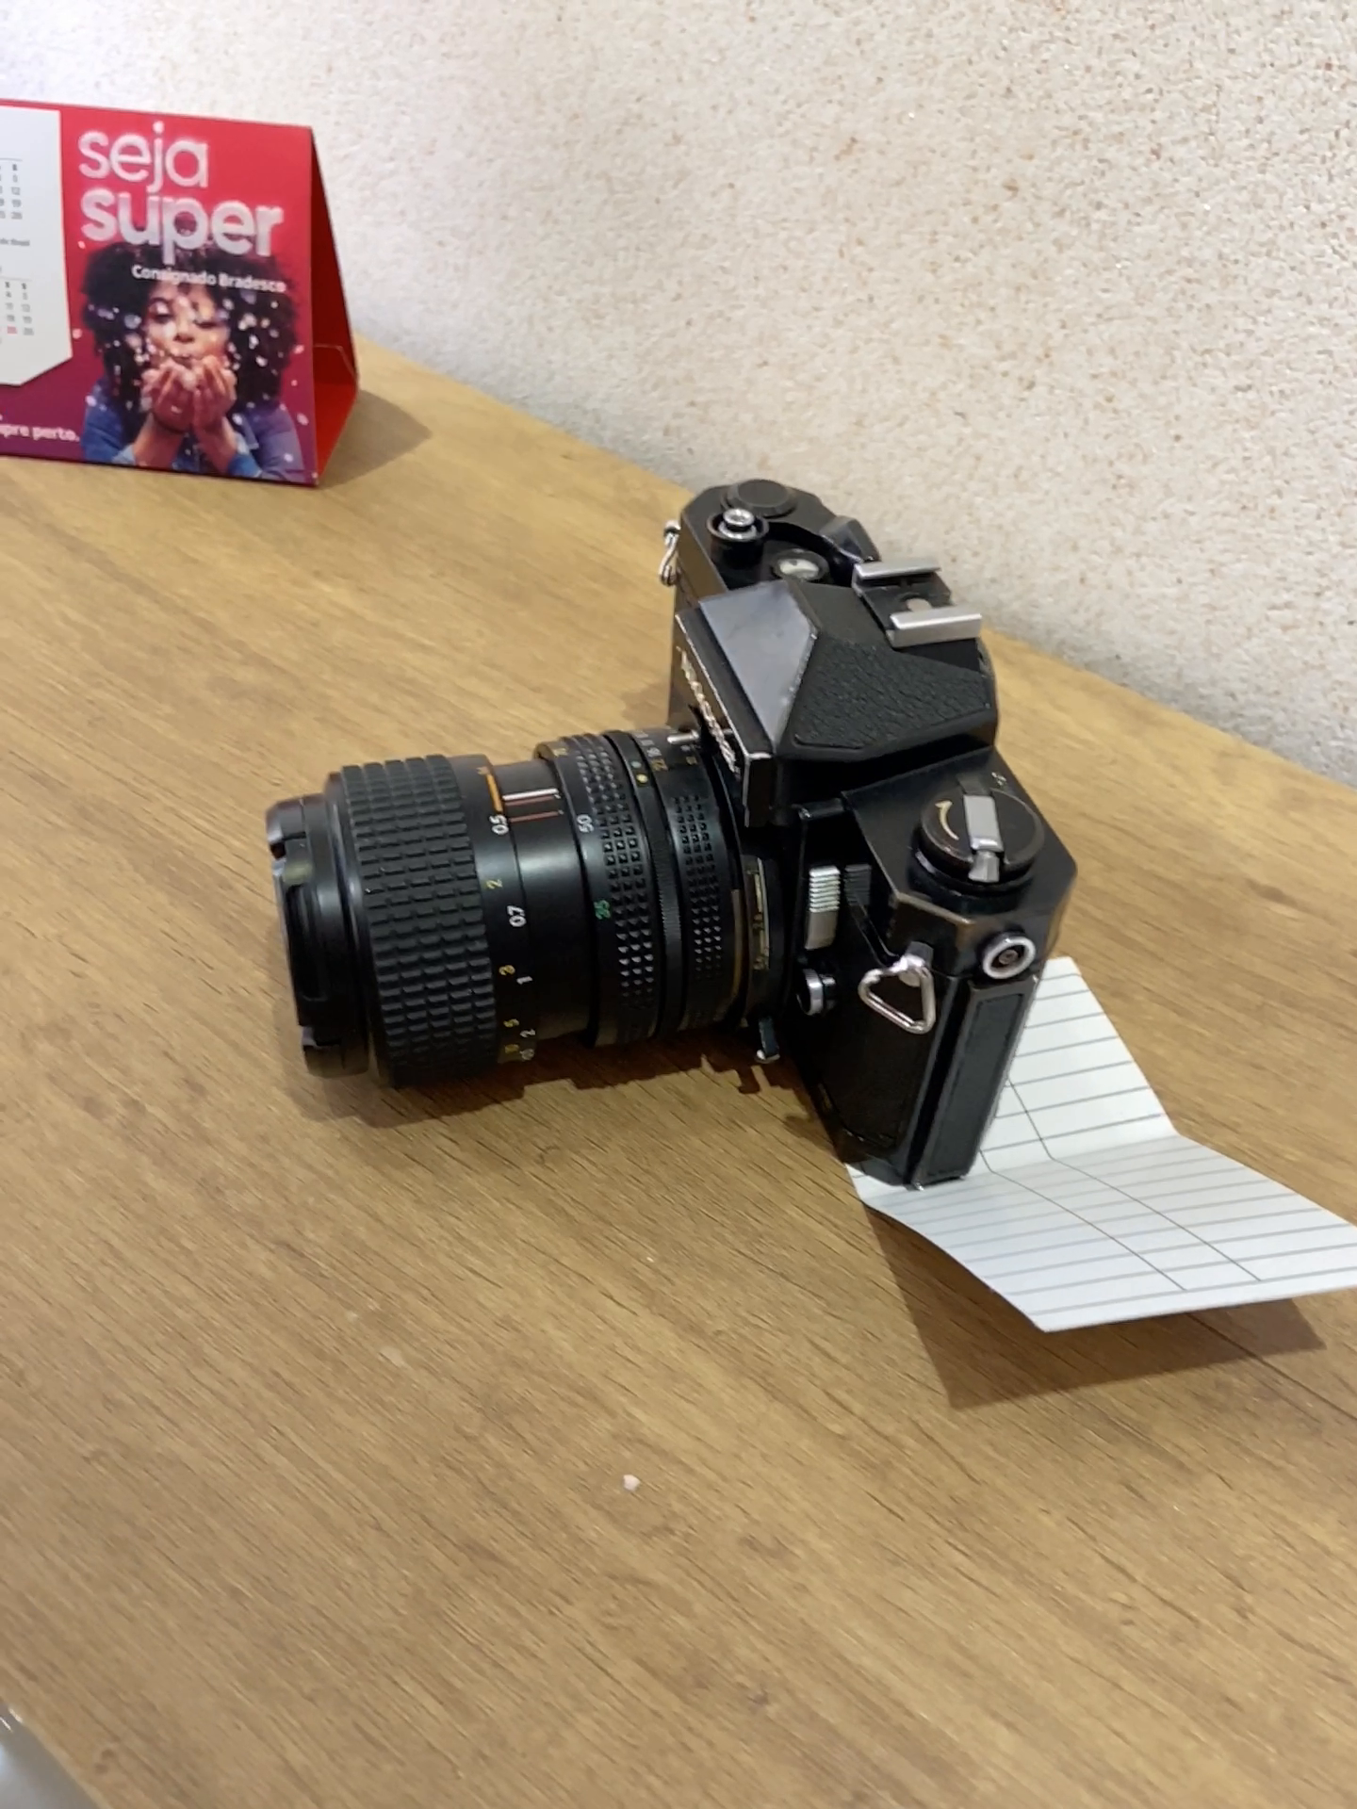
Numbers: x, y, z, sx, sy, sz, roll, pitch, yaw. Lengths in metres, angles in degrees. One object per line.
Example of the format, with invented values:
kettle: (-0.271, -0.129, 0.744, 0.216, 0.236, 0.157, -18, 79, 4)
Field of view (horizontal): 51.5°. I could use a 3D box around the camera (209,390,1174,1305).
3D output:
camera: (-0.014, -0.025, 0.285, 0.140, 0.089, 0.161, -6, 44, -12)
